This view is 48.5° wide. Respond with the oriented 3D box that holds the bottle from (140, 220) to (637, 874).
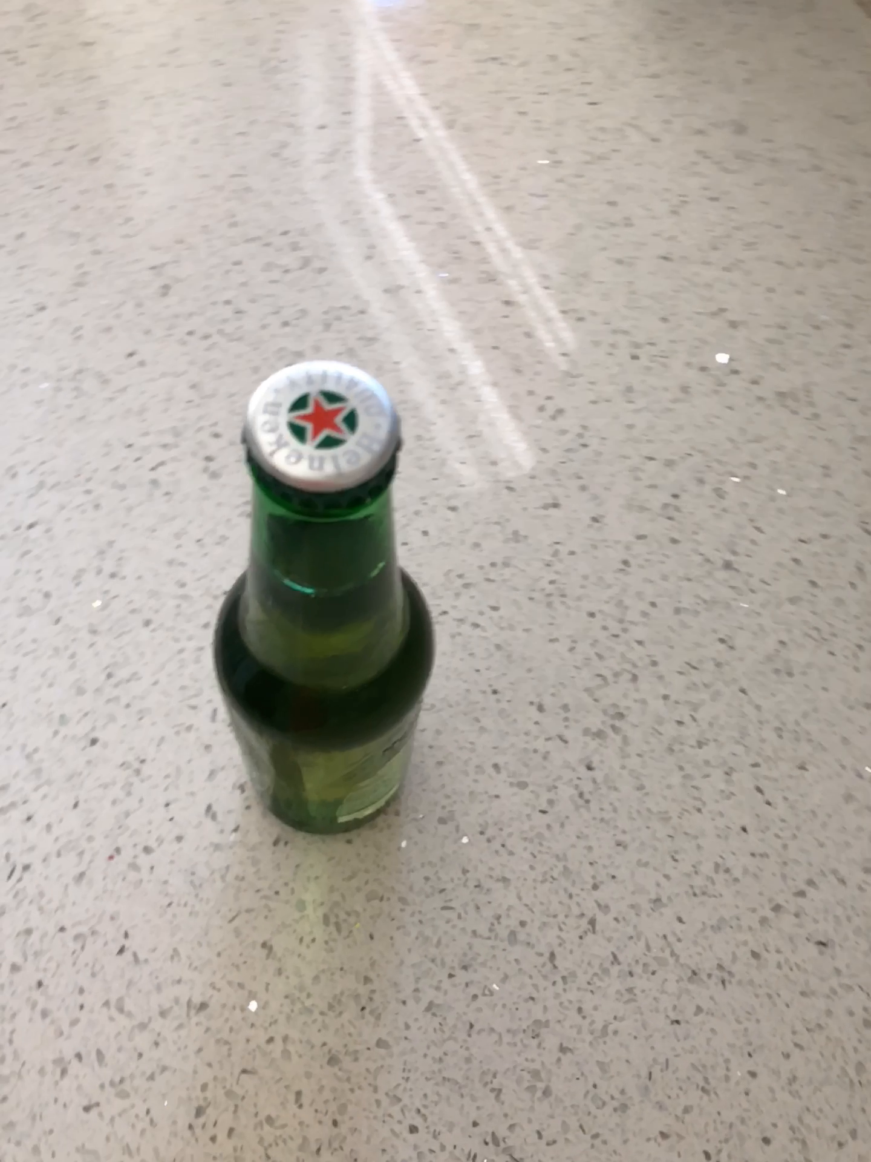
[{"bbox_3d":[-0.012,0.017,0.258,0.070,0.210,0.070,2,64,-4],"label":"bottle"}]
